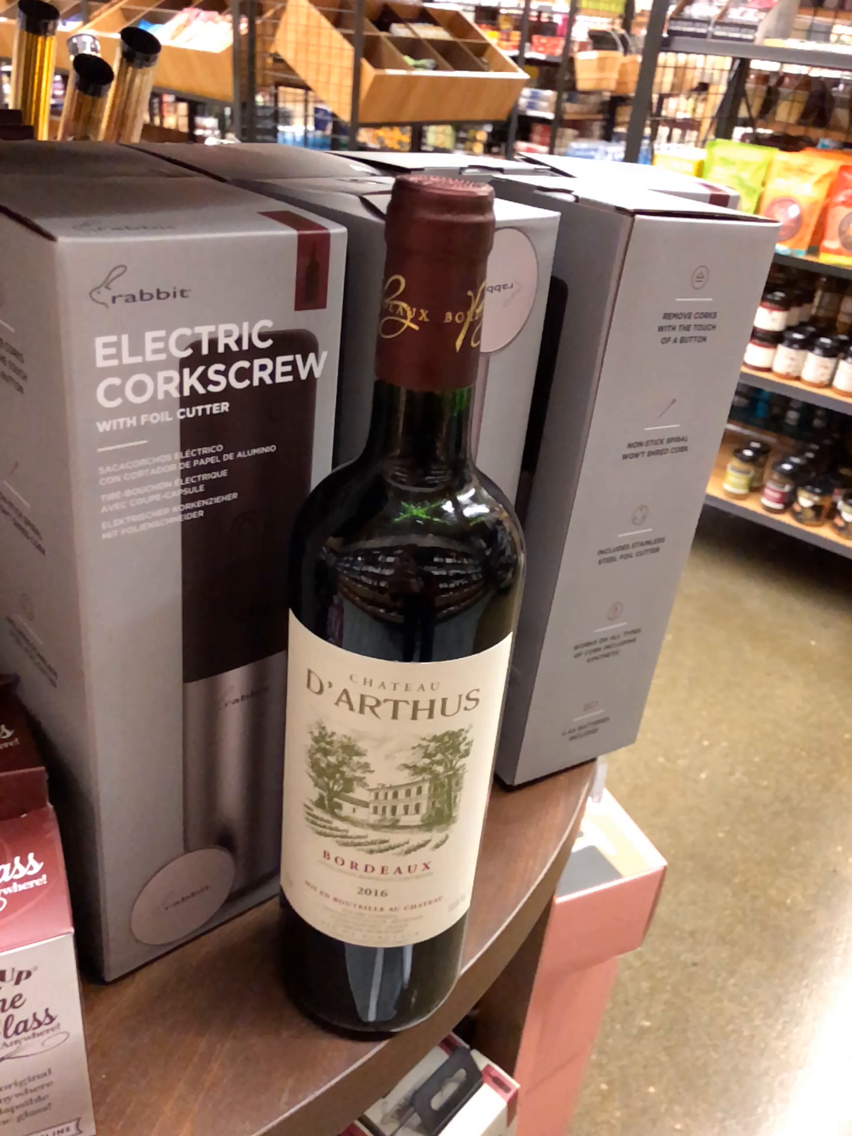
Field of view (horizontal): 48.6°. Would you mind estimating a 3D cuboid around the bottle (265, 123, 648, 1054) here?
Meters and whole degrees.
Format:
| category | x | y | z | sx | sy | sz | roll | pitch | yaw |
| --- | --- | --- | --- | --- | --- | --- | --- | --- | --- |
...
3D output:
| category | x | y | z | sx | sy | sz | roll | pitch | yaw |
| --- | --- | --- | --- | --- | --- | --- | --- | --- | --- |
| bottle | -0.008 | 0.027 | 0.305 | 0.080 | 0.299 | 0.080 | 4 | 29 | -2 |
